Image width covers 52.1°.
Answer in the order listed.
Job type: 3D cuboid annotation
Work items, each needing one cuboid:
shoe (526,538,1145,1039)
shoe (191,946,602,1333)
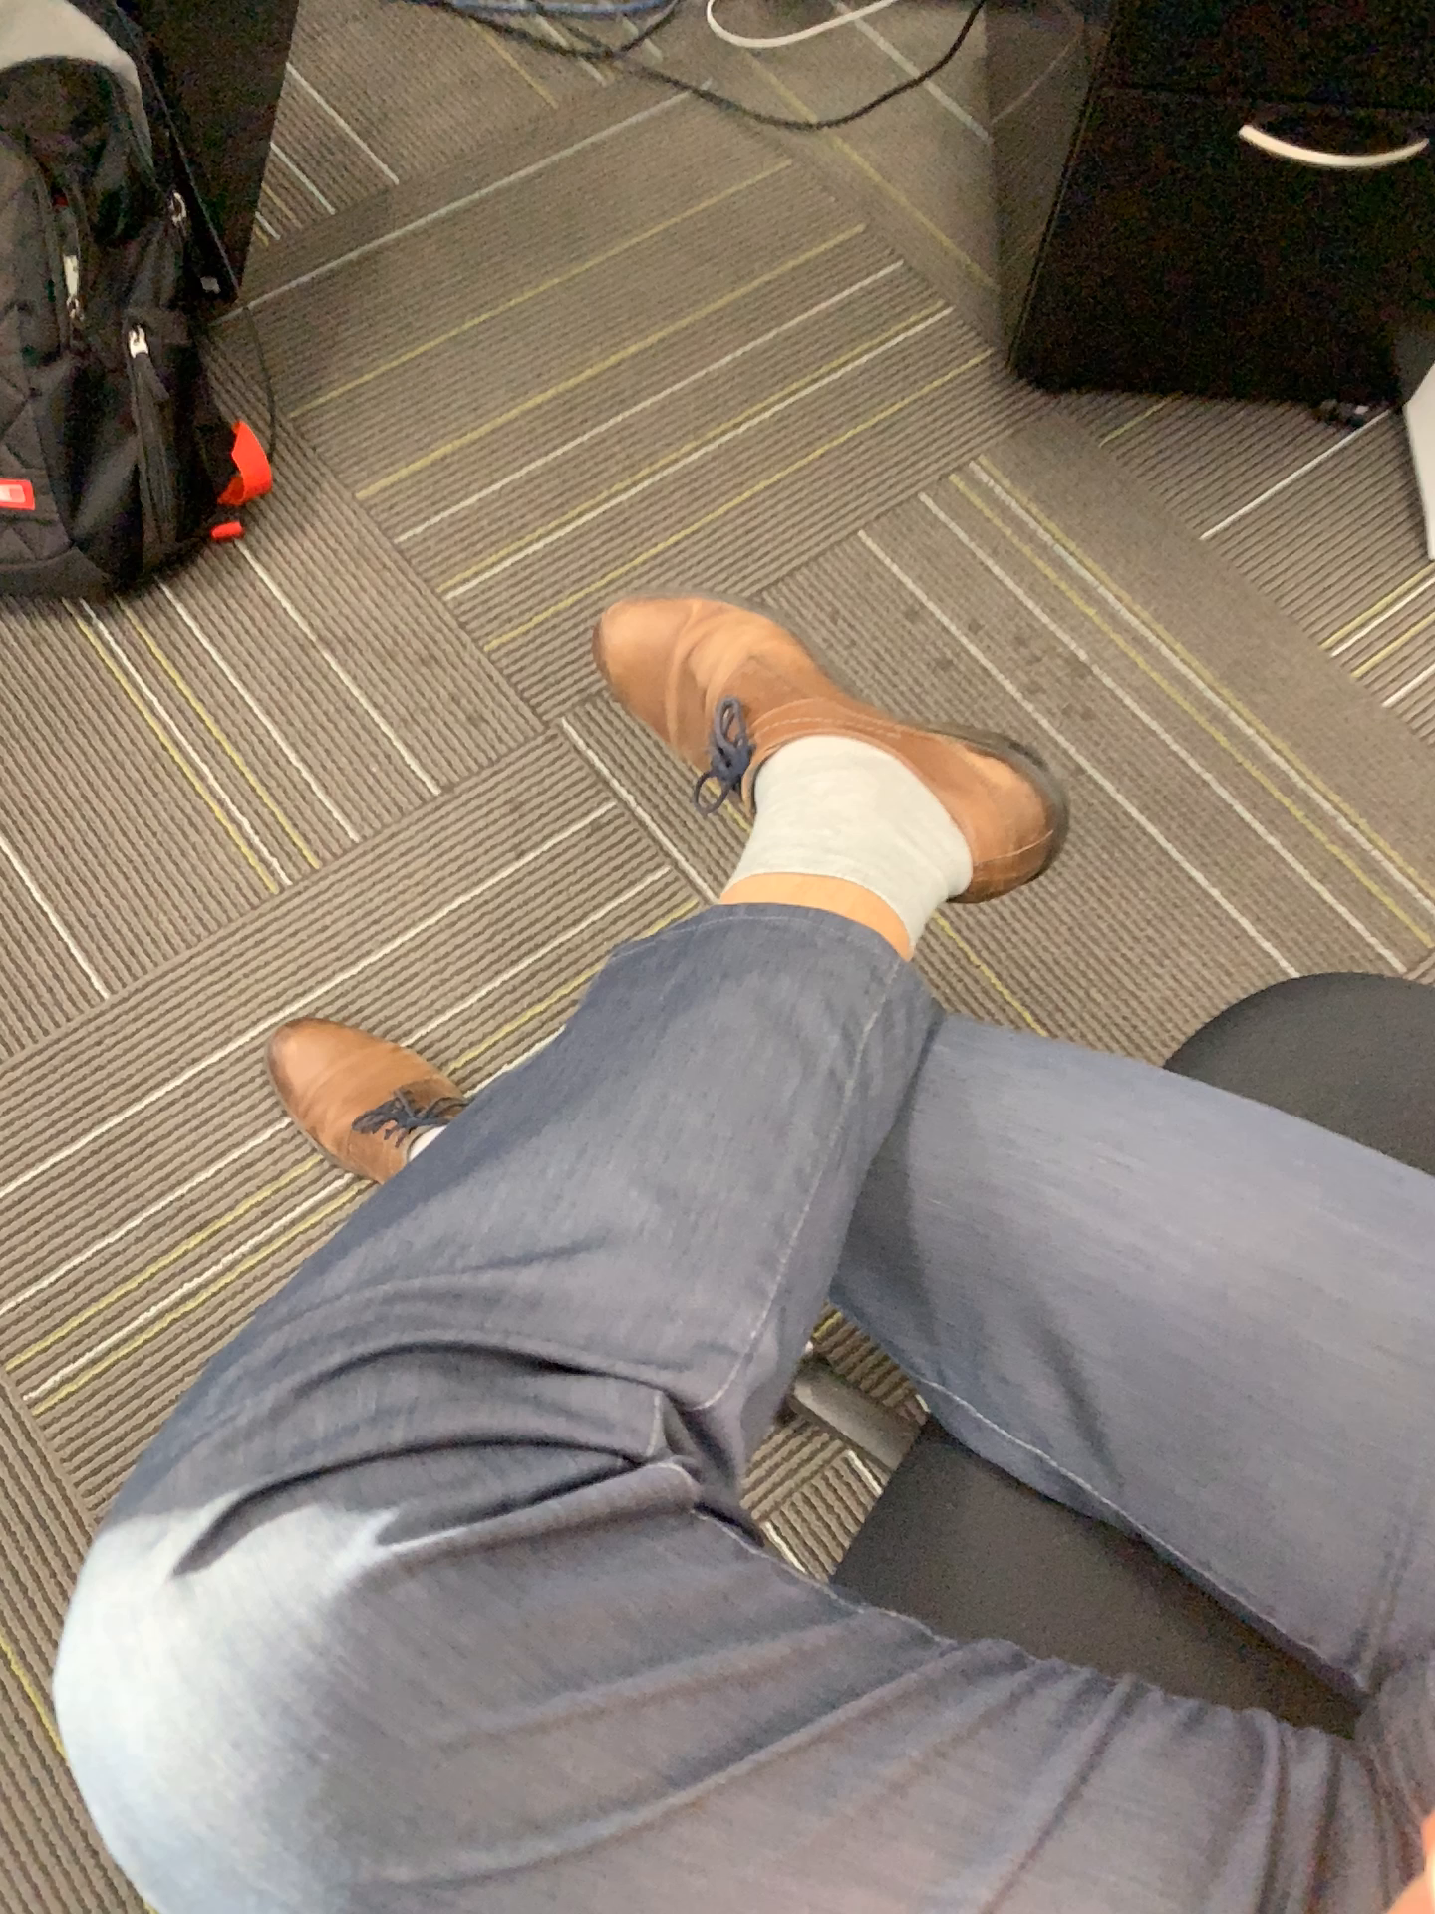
[{"bbox_3d":[0.052,-0.093,0.756,0.294,0.114,0.082,31,39,16],"label":"shoe"},{"bbox_3d":[-0.223,0.126,1.035,0.276,0.068,0.112,37,70,12],"label":"shoe"}]
